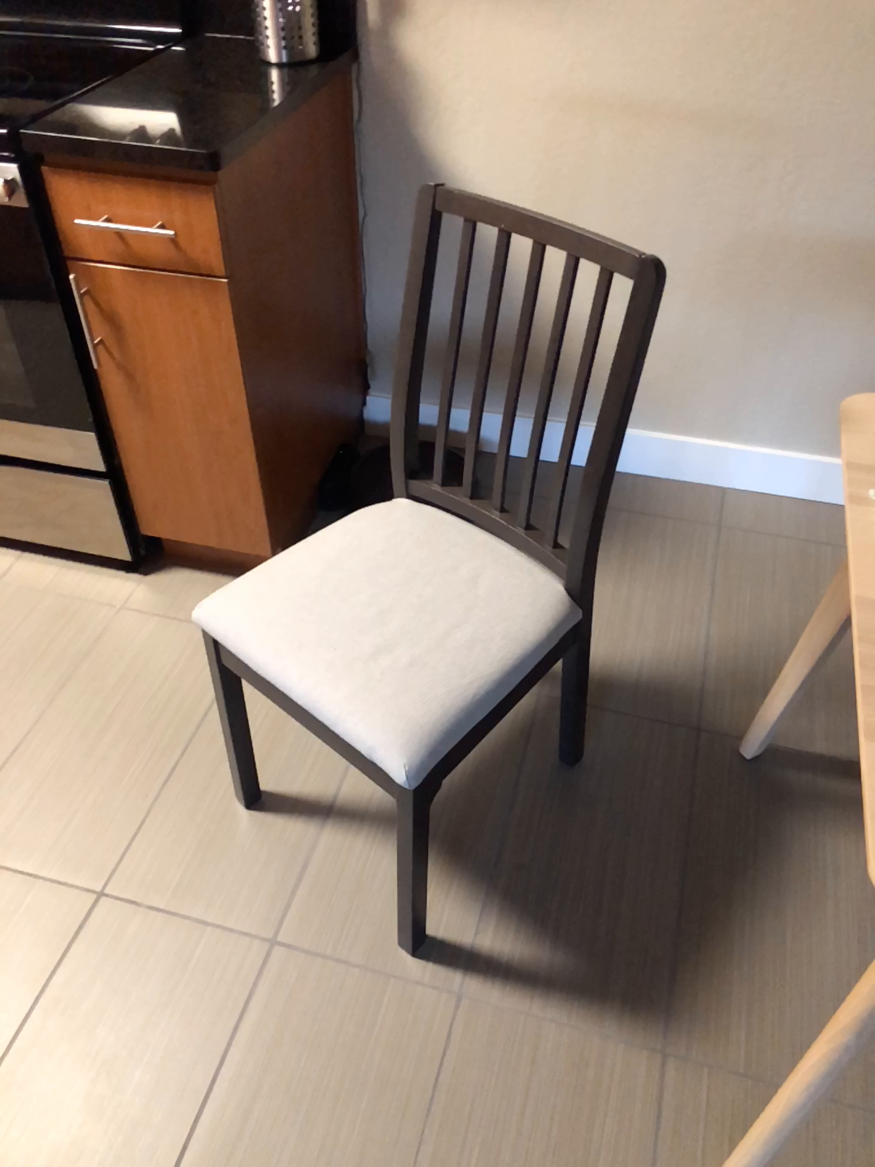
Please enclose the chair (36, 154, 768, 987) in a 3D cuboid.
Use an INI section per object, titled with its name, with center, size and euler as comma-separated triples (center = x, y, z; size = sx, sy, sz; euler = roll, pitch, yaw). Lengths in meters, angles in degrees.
[chair]
center = -0.034, -0.031, 1.369
size = 0.581, 0.846, 0.591
euler = 31, 50, 30
